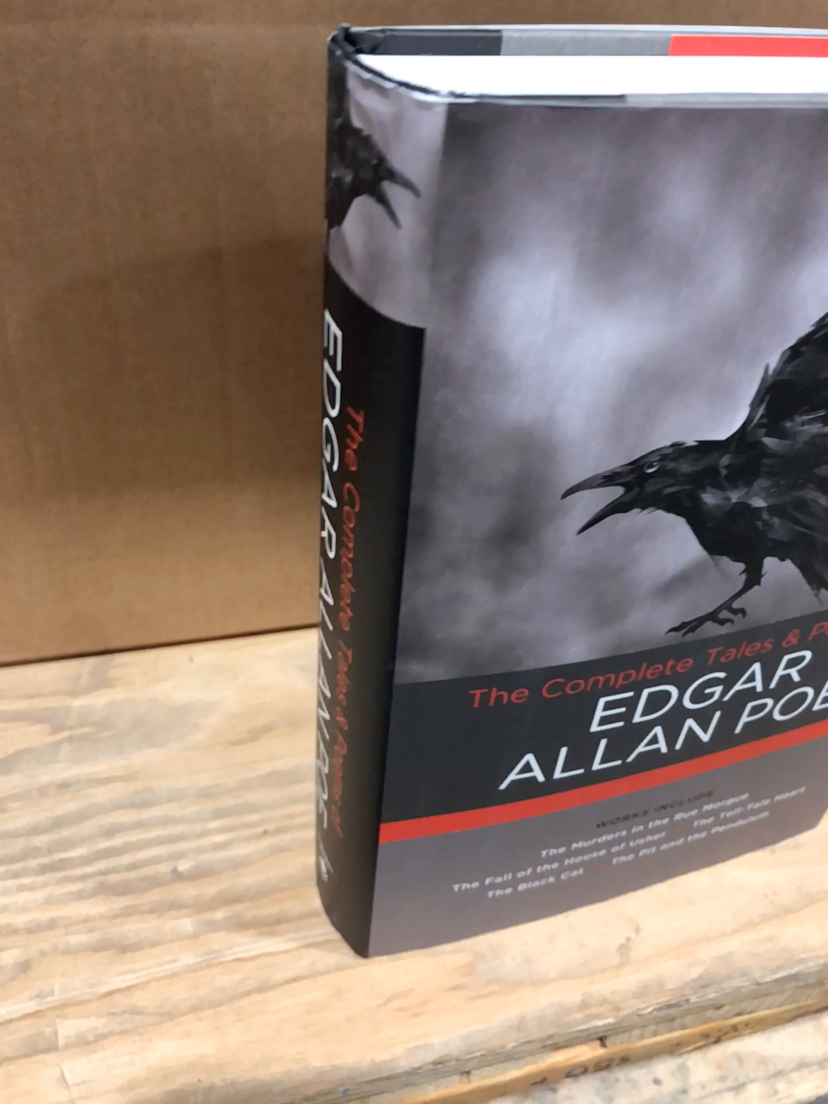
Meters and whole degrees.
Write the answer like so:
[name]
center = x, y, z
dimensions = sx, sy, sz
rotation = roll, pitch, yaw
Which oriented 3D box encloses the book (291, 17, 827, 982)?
[book]
center = 0.059, 0.005, 0.241
dimensions = 0.171, 0.240, 0.054
rotation = -9, 42, -18
